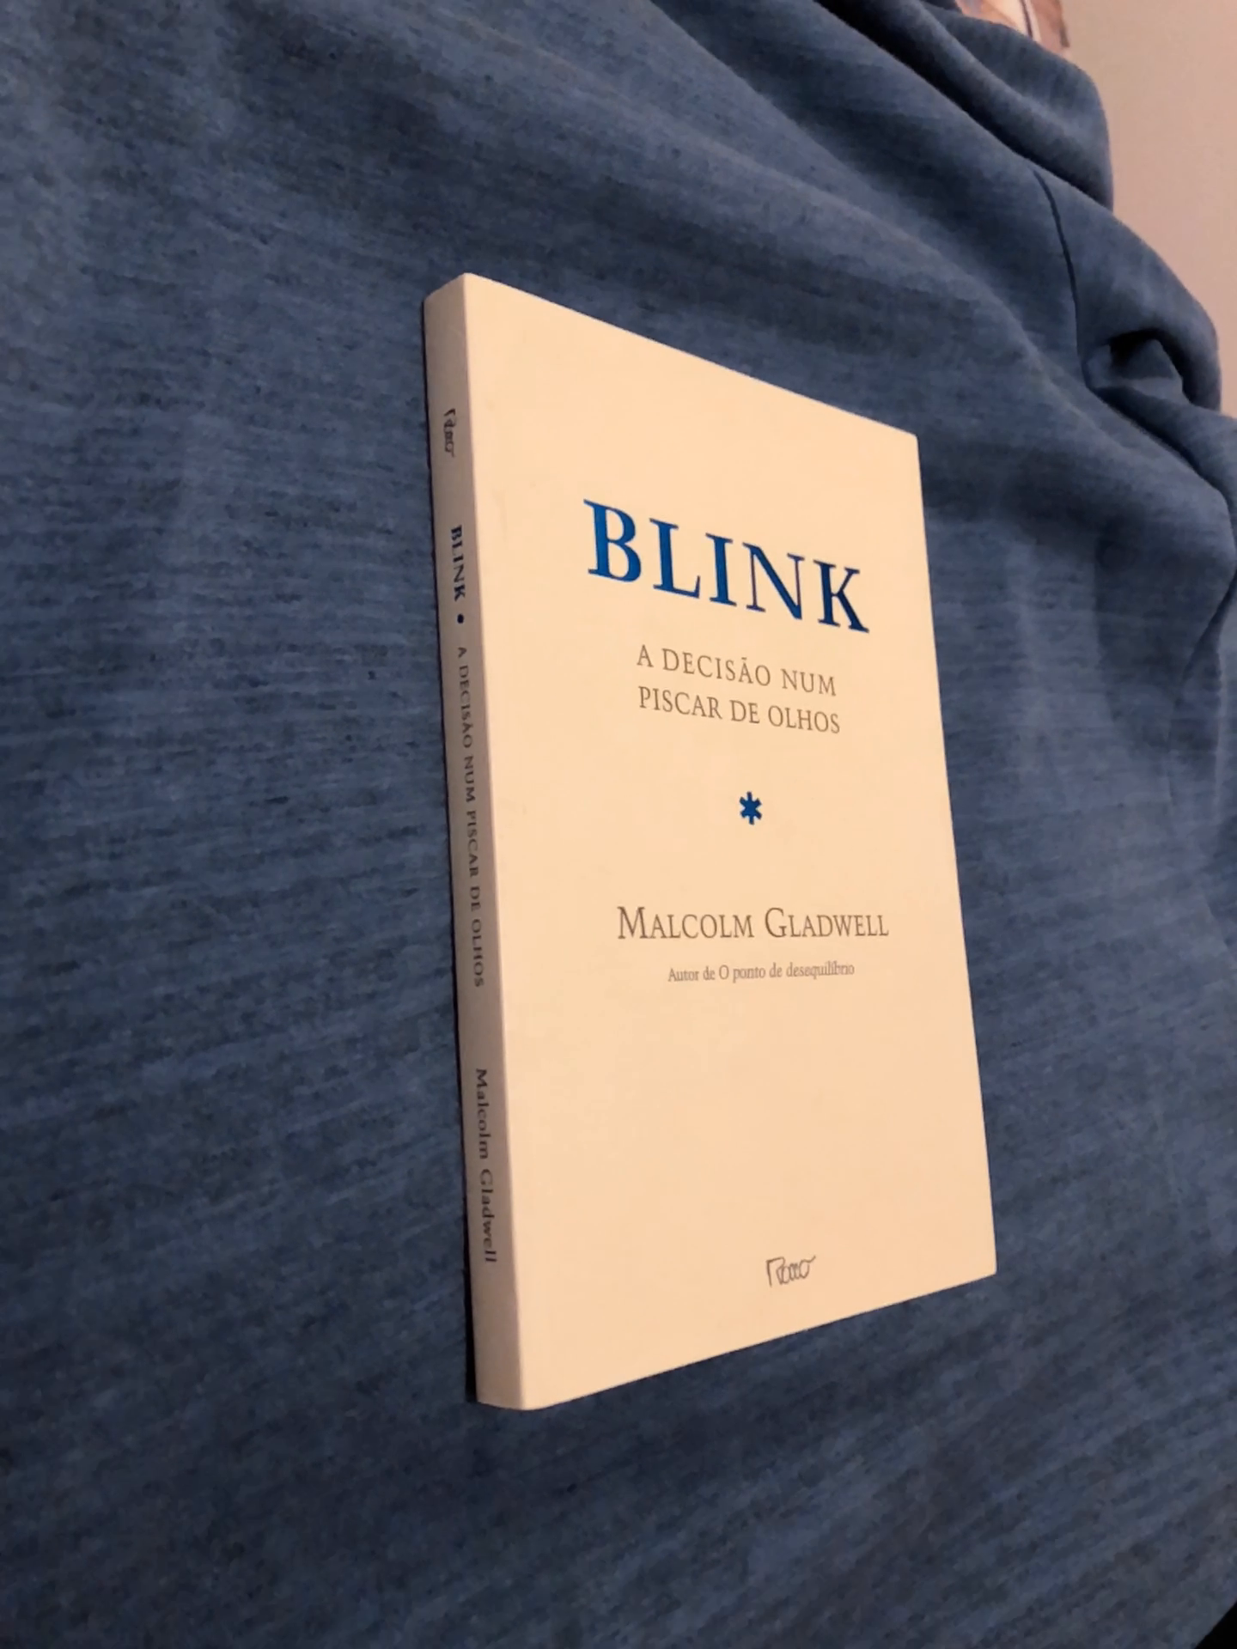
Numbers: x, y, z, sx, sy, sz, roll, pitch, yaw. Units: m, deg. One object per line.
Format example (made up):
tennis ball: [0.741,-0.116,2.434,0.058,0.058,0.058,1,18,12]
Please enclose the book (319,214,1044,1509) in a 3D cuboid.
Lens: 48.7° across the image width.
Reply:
book: [0.018,0.003,0.289,0.151,0.030,0.220,4,75,-42]
